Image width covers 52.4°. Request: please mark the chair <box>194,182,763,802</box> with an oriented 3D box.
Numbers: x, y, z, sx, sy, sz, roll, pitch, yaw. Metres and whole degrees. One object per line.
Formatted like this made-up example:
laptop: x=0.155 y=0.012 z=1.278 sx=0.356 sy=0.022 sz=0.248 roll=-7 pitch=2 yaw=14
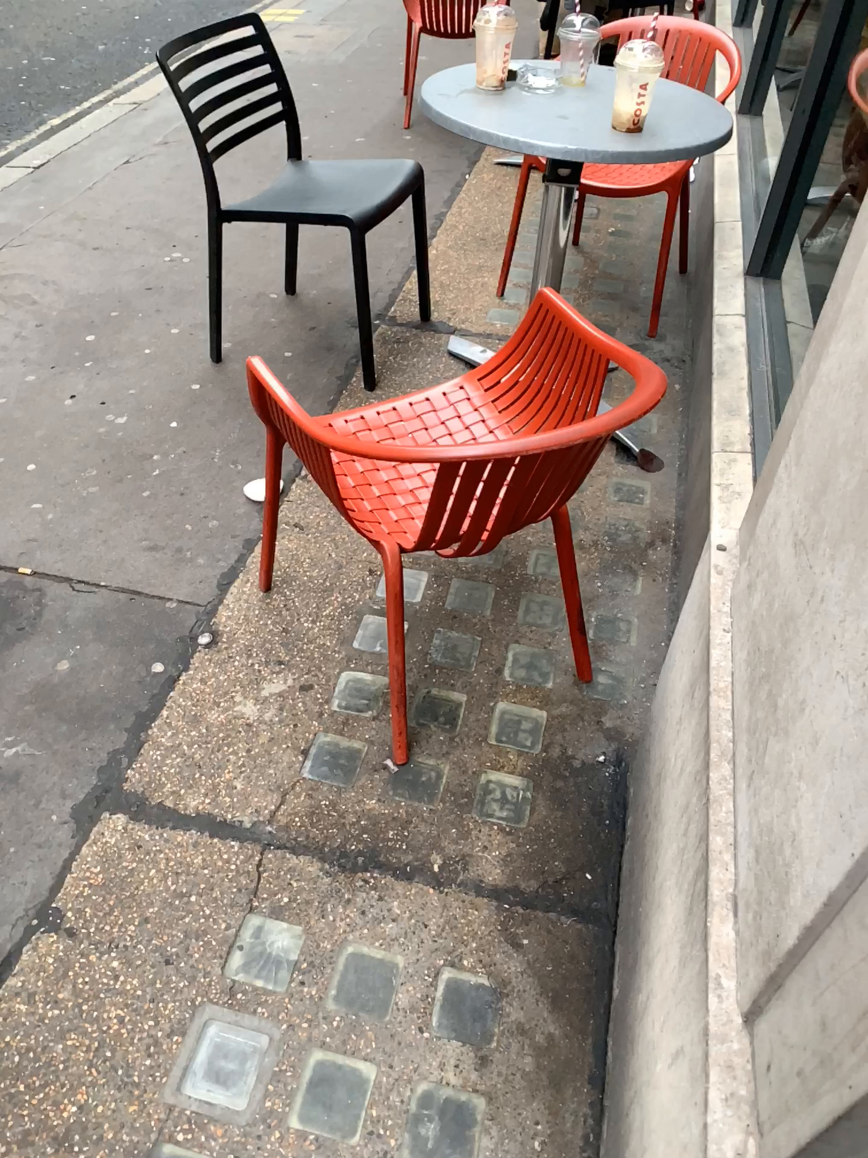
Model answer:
chair: x=0.023 y=-0.169 z=1.499 sx=0.581 sy=0.693 sz=0.615 roll=-20 pitch=48 yaw=-22
